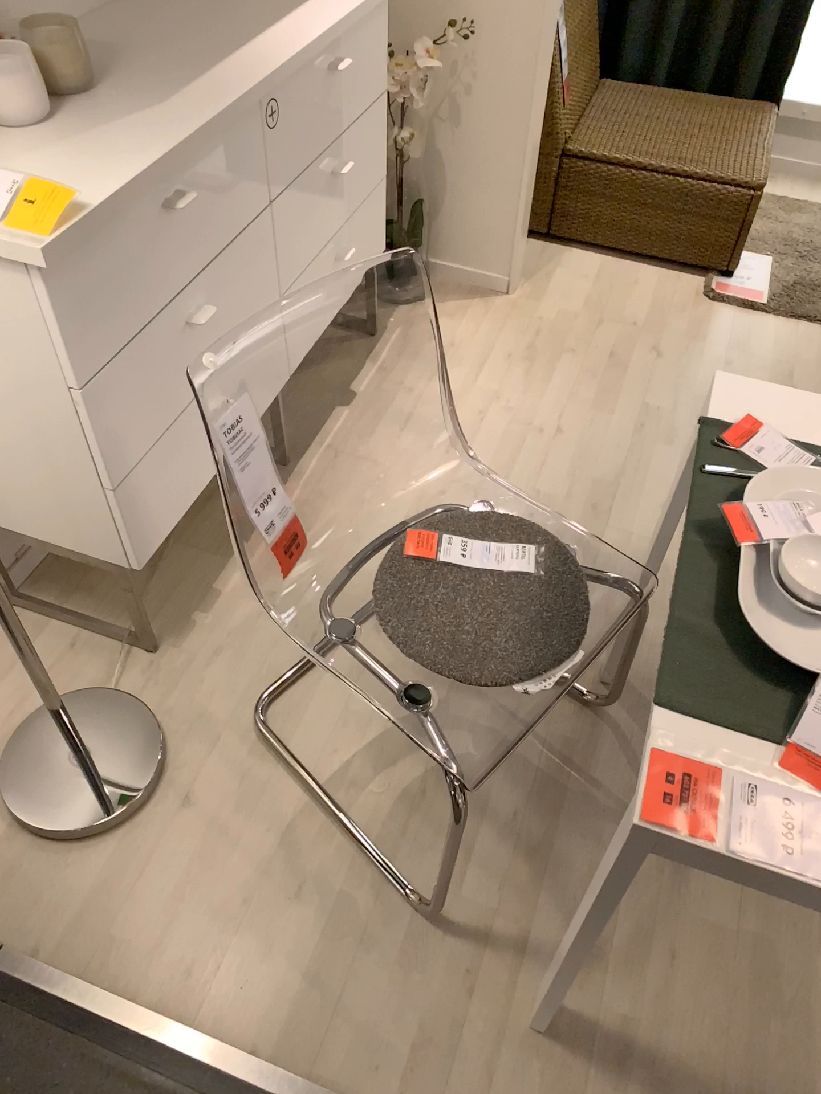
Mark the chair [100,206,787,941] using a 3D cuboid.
[{"bbox_3d":[0.036,0.050,1.310,0.592,0.792,0.592,35,56,25],"label":"chair"}]
